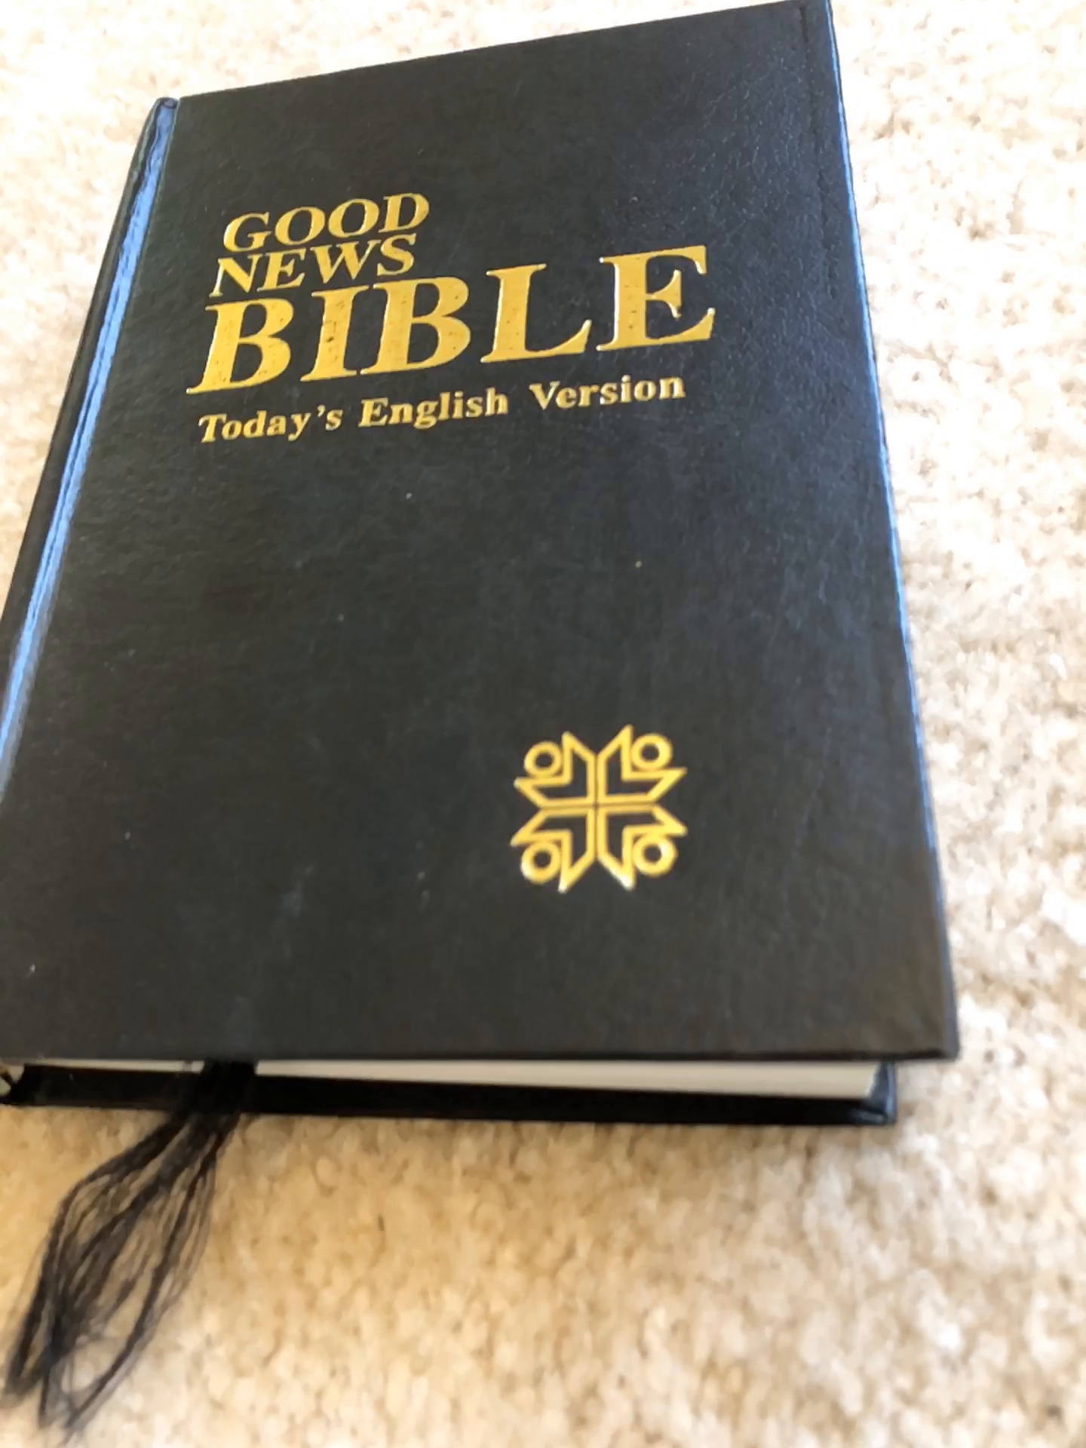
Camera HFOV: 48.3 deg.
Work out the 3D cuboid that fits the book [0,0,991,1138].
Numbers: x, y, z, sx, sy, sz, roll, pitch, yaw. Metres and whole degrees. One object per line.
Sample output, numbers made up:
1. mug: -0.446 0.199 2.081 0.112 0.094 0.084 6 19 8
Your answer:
1. book: -0.013 -0.029 0.174 0.124 0.040 0.160 -3 62 12
